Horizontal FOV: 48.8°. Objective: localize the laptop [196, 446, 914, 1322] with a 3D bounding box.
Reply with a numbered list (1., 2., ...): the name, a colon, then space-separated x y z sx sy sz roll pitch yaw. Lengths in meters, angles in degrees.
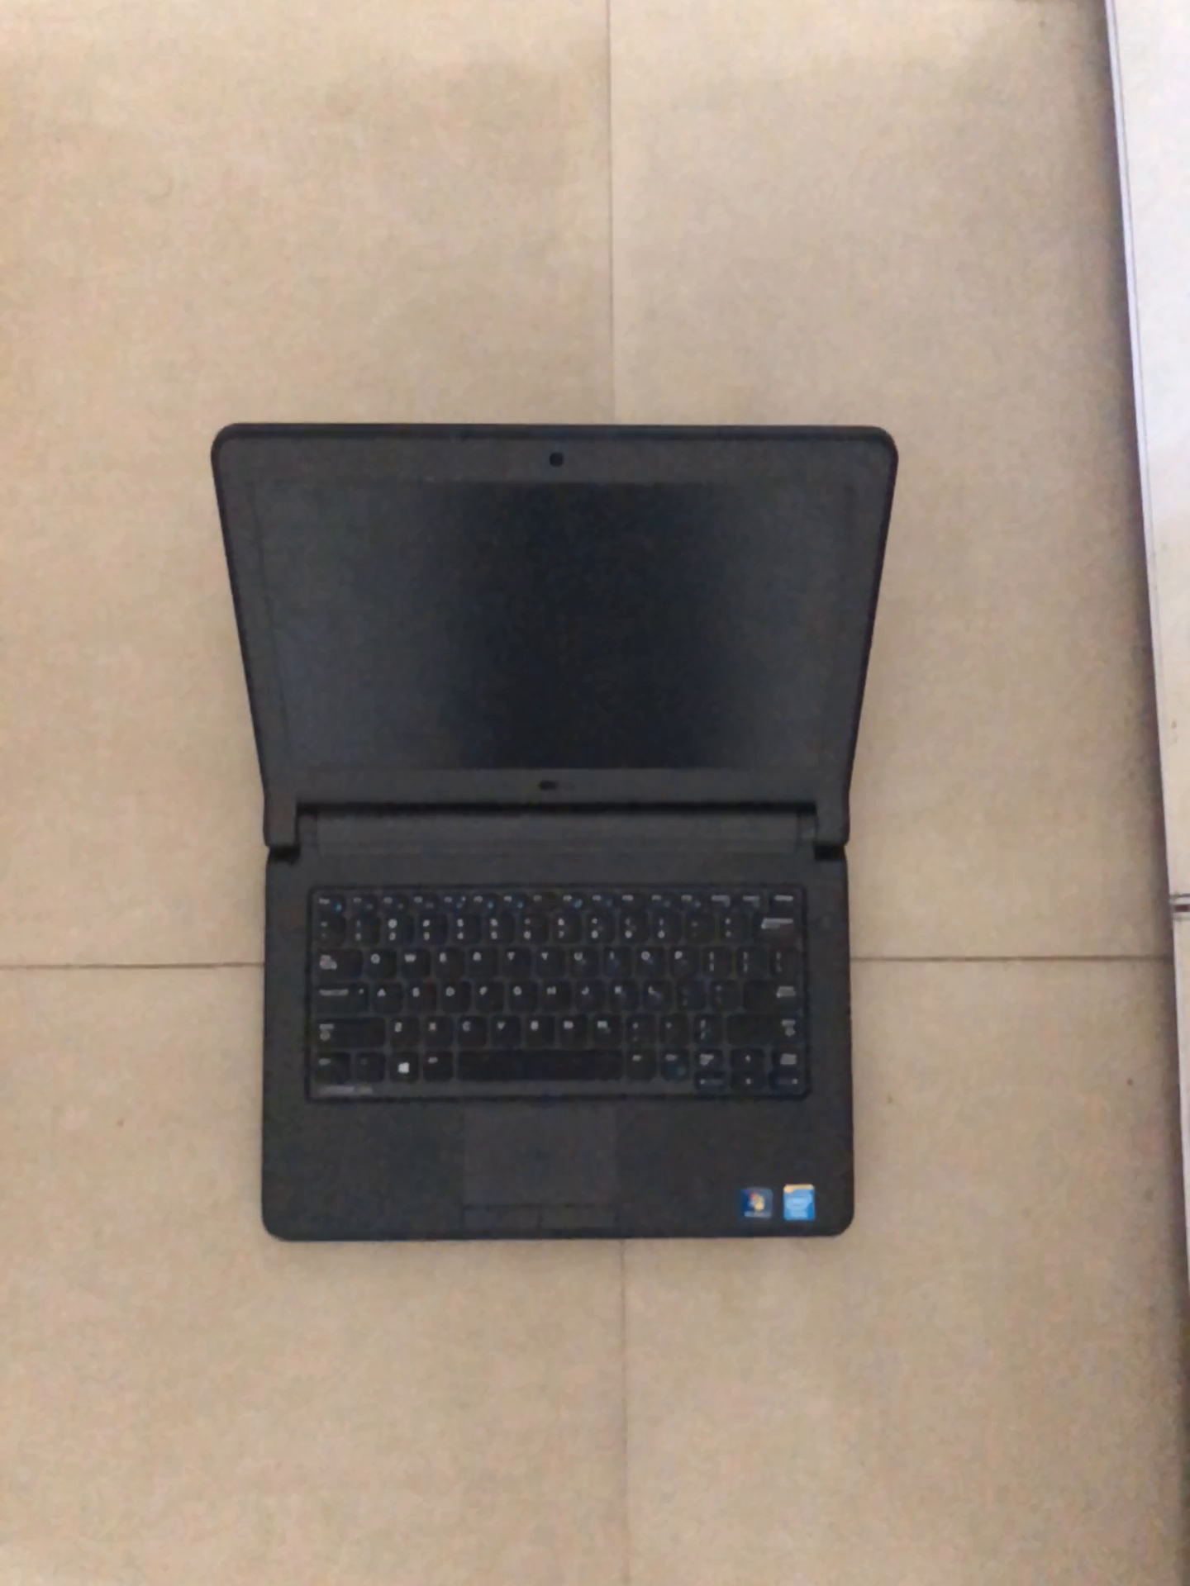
1. laptop: -0.017 0.042 0.667 0.312 0.154 0.392 0 84 -1
